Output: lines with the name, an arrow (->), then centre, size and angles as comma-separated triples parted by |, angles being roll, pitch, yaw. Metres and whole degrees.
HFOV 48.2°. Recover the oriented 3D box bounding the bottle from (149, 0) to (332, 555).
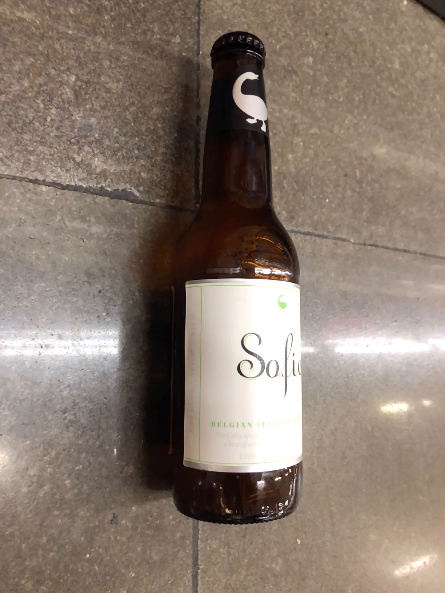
bottle -> 0.007, -0.020, 0.234 | 0.070, 0.040, 0.240 | 3, 84, -36
